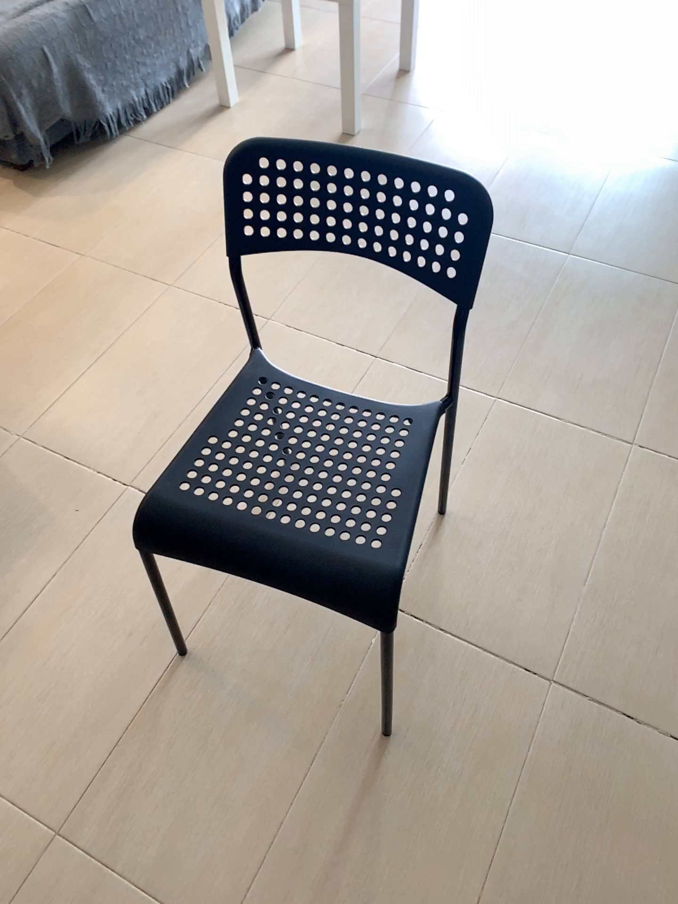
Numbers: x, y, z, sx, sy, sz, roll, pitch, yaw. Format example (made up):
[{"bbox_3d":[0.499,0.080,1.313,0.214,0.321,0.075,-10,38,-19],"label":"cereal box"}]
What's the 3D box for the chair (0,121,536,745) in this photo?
[{"bbox_3d":[-0.042,0.012,0.999,0.420,0.687,0.492,16,55,14],"label":"chair"}]
